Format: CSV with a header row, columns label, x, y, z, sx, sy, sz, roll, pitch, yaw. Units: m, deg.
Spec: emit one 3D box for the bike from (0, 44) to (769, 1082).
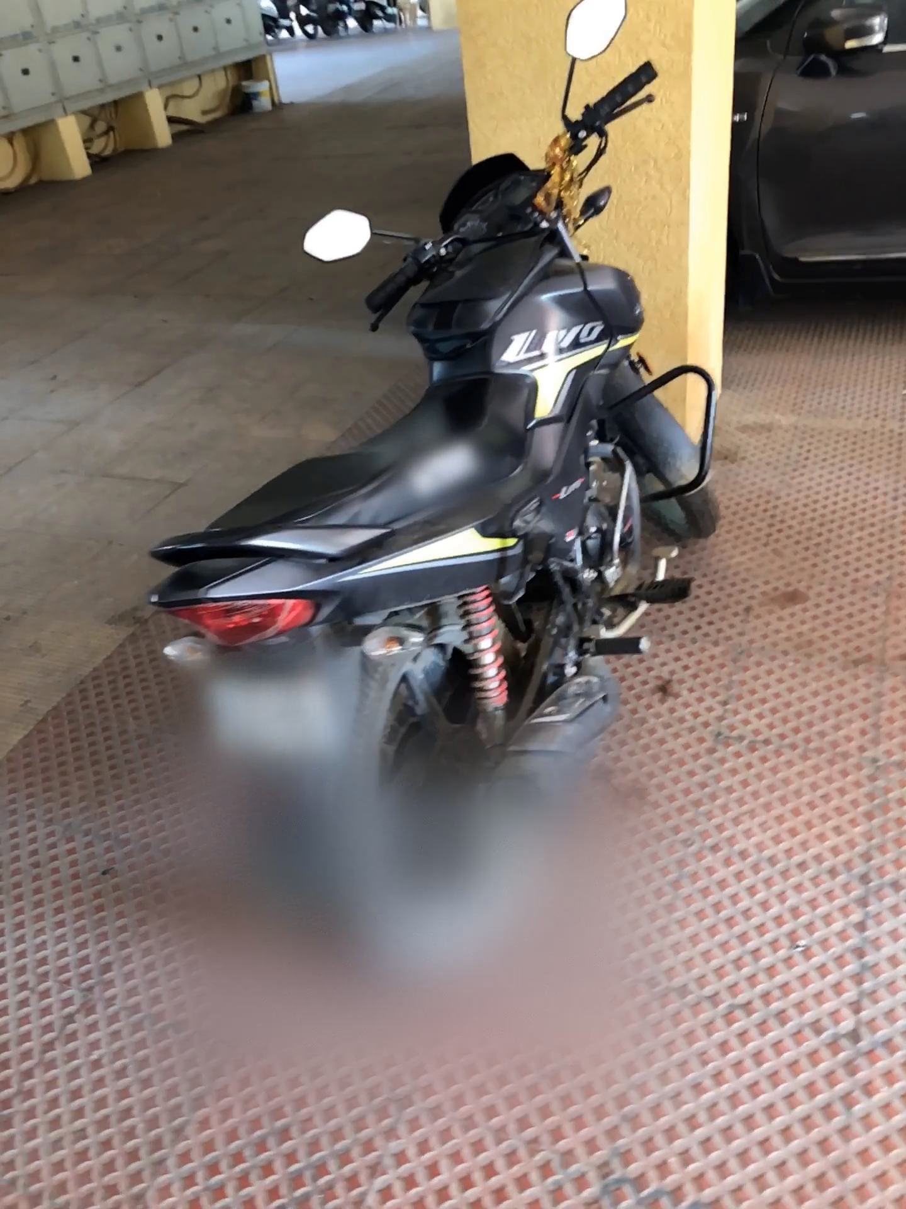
label,x,y,z,sx,sy,sz,roll,pitch,yaw
bike,0.054,-0.262,1.826,0.718,1.088,1.626,8,37,22
